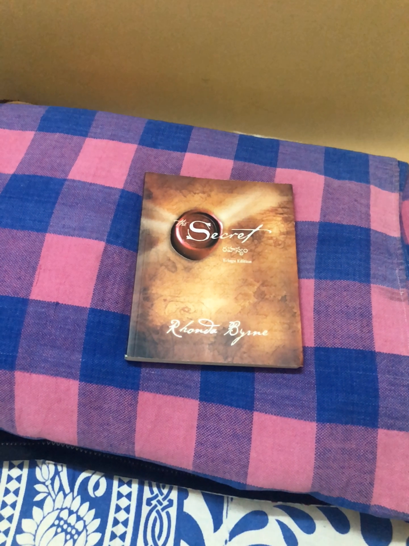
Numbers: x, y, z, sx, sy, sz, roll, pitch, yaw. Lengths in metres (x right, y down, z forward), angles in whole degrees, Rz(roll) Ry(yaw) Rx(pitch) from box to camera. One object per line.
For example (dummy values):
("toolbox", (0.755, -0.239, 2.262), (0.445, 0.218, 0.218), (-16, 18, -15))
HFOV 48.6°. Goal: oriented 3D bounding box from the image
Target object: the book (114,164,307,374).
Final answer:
("book", (0.009, -0.011, 0.402), (0.150, 0.020, 0.190), (3, 64, 1))
